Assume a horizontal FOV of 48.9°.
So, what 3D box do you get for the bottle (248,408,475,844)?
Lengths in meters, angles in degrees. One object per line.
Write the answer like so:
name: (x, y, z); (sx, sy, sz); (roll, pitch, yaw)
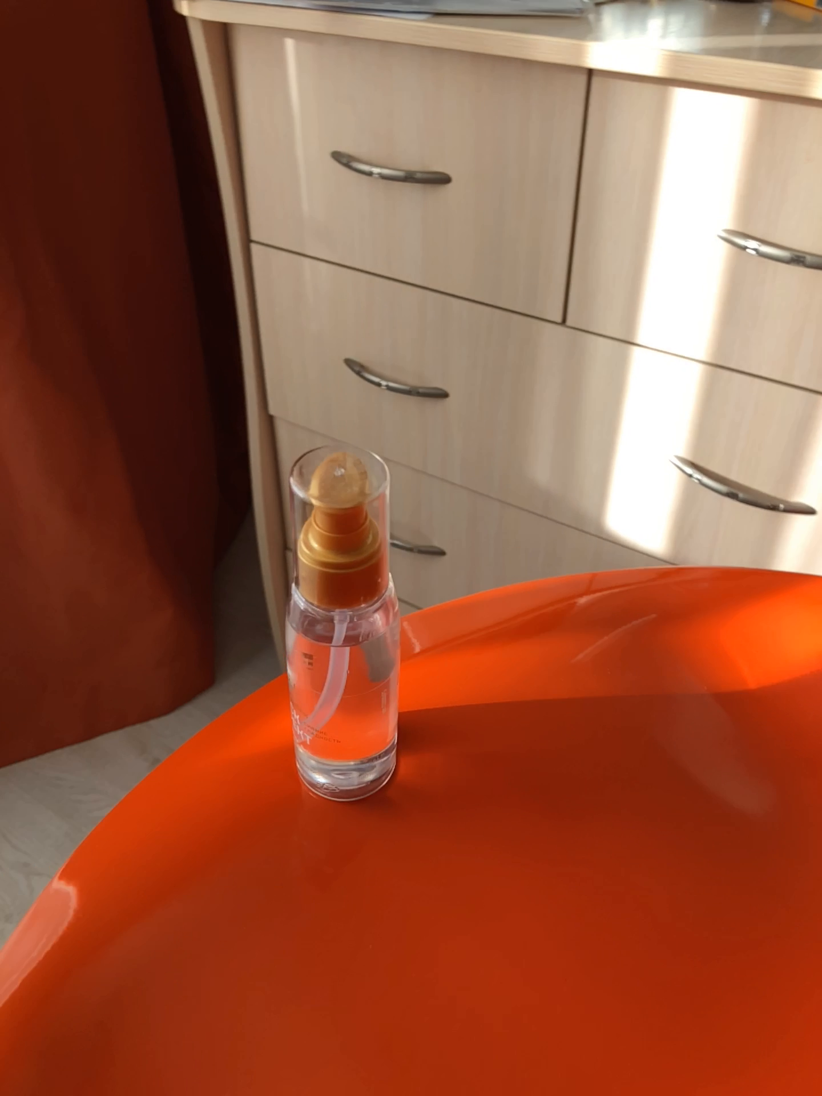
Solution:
bottle: (-0.017, 0.033, 0.310); (0.050, 0.149, 0.050); (3, 43, -2)
